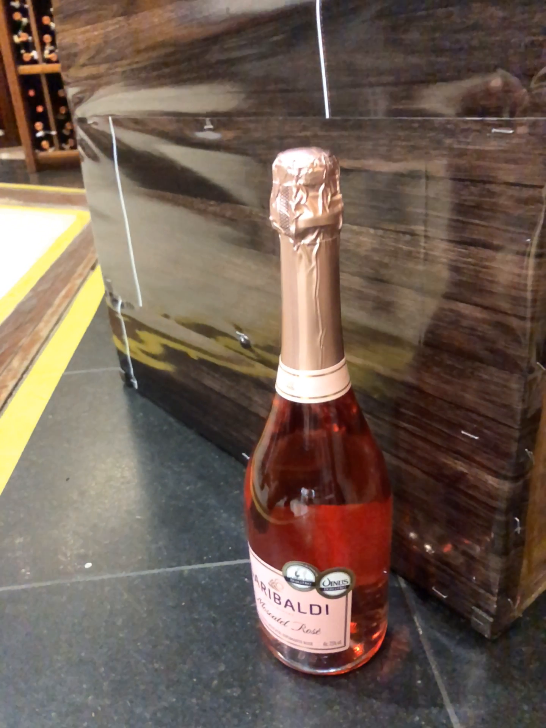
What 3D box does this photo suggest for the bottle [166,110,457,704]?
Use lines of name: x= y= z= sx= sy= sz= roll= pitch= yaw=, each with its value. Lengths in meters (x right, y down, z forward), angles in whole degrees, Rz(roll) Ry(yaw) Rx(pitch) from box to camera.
bottle: x=0.029 y=0.029 z=0.378 sx=0.110 sy=0.337 sz=0.100 roll=-3 pitch=24 yaw=1
